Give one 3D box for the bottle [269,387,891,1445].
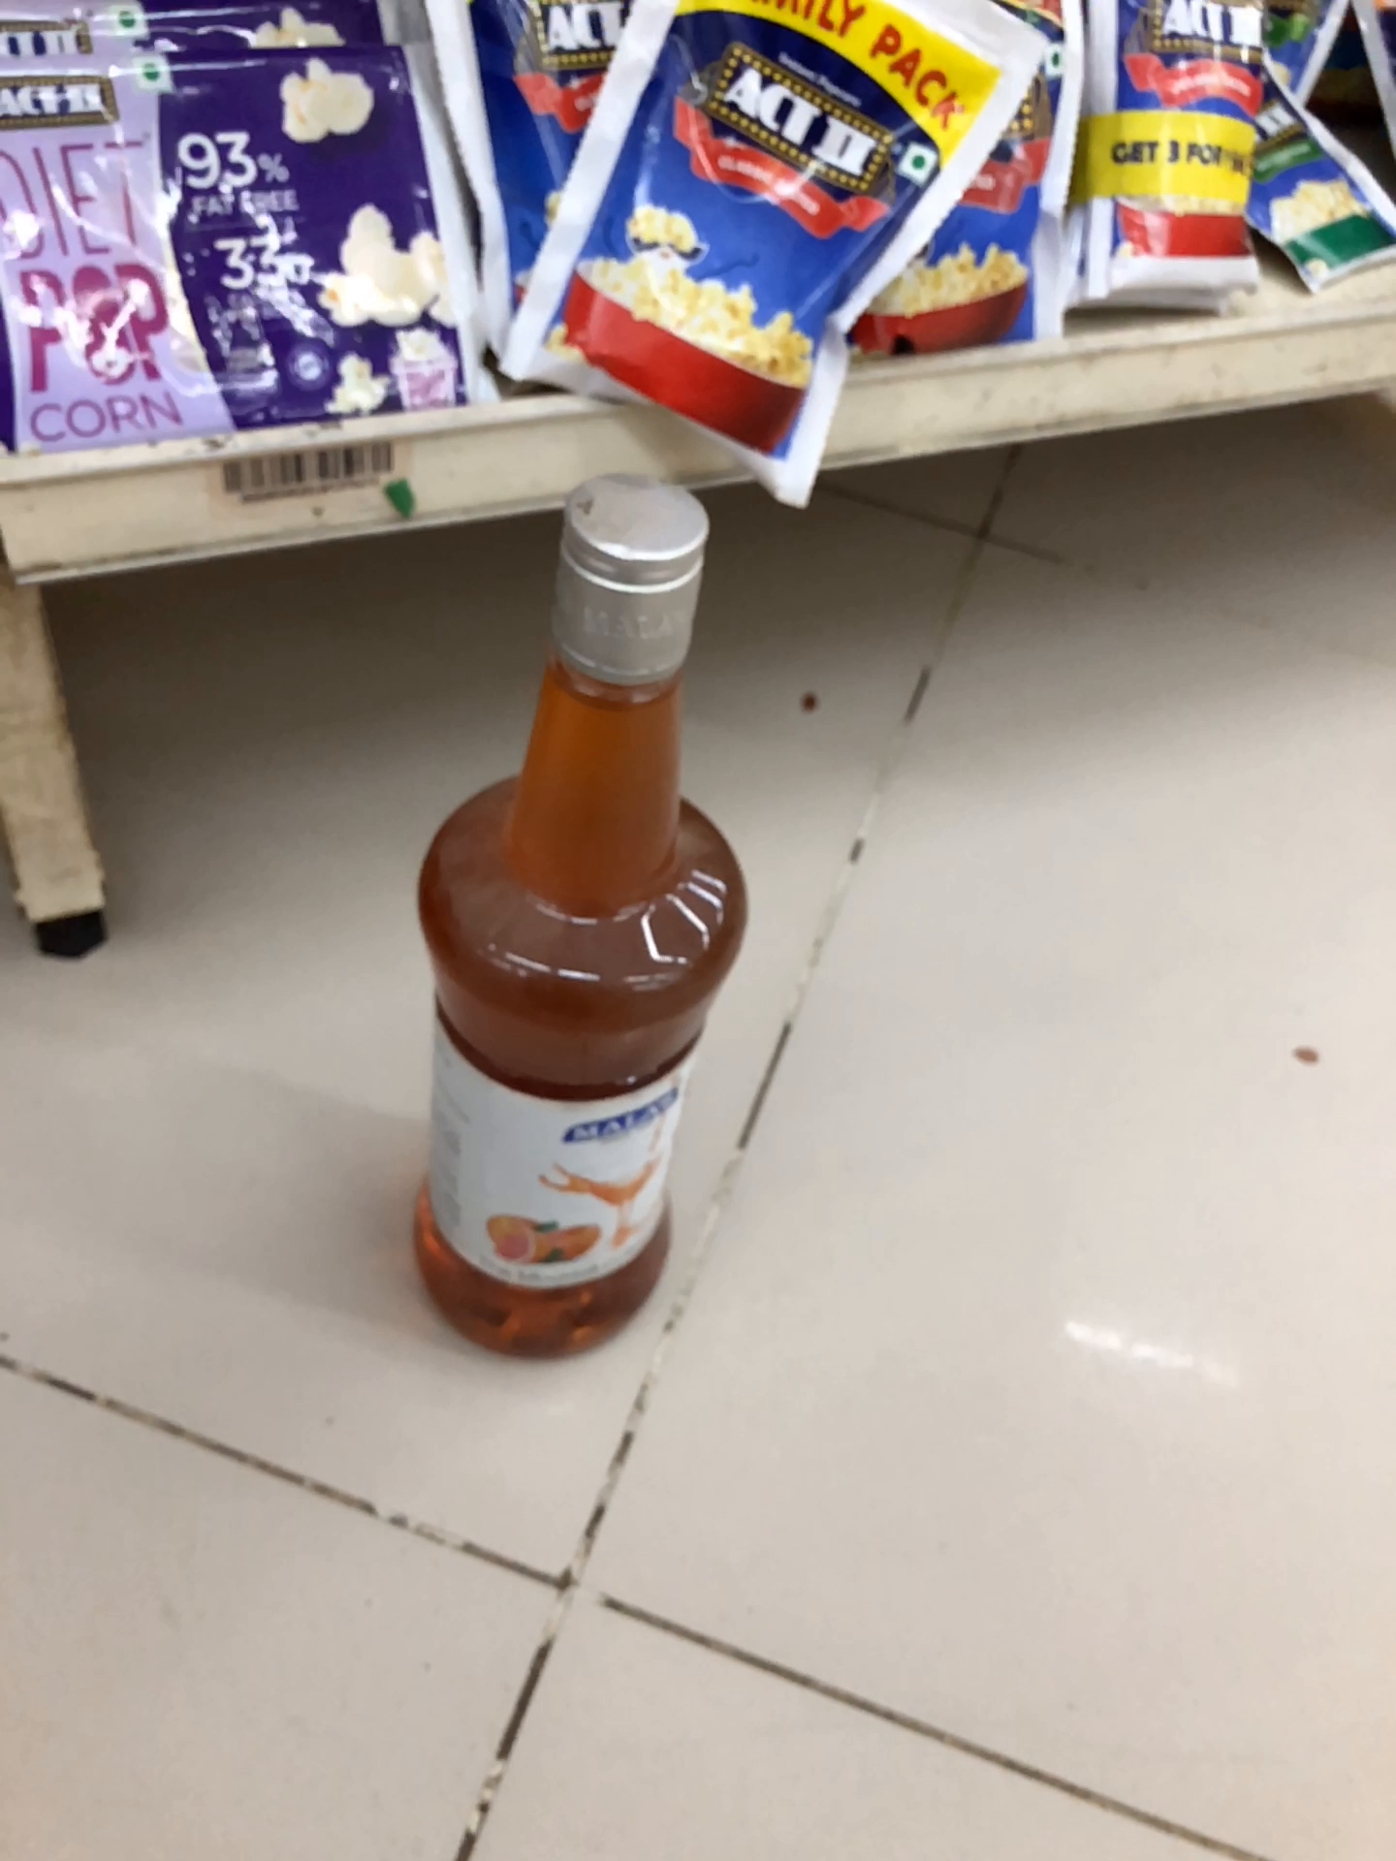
[{"bbox_3d":[-0.041,0.019,0.409,0.090,0.288,0.090,5,49,-5],"label":"bottle"}]
